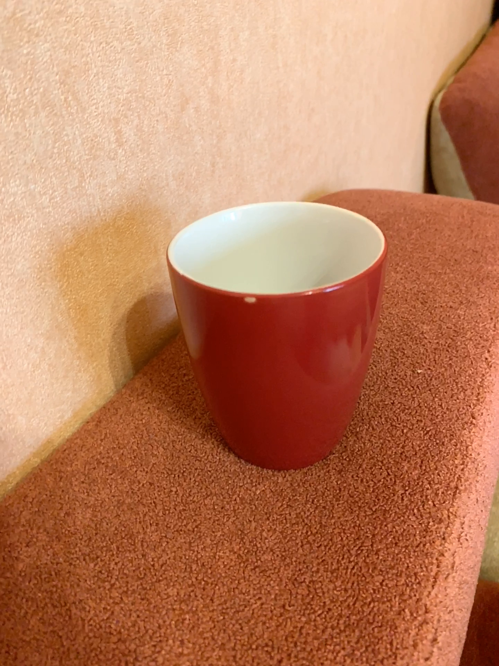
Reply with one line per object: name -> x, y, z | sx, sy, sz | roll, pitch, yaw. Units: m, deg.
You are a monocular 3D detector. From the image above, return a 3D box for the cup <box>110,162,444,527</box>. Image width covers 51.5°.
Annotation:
cup -> 0.021, -0.007, 0.230 | 0.083, 0.091, 0.122 | 18, 41, 27
